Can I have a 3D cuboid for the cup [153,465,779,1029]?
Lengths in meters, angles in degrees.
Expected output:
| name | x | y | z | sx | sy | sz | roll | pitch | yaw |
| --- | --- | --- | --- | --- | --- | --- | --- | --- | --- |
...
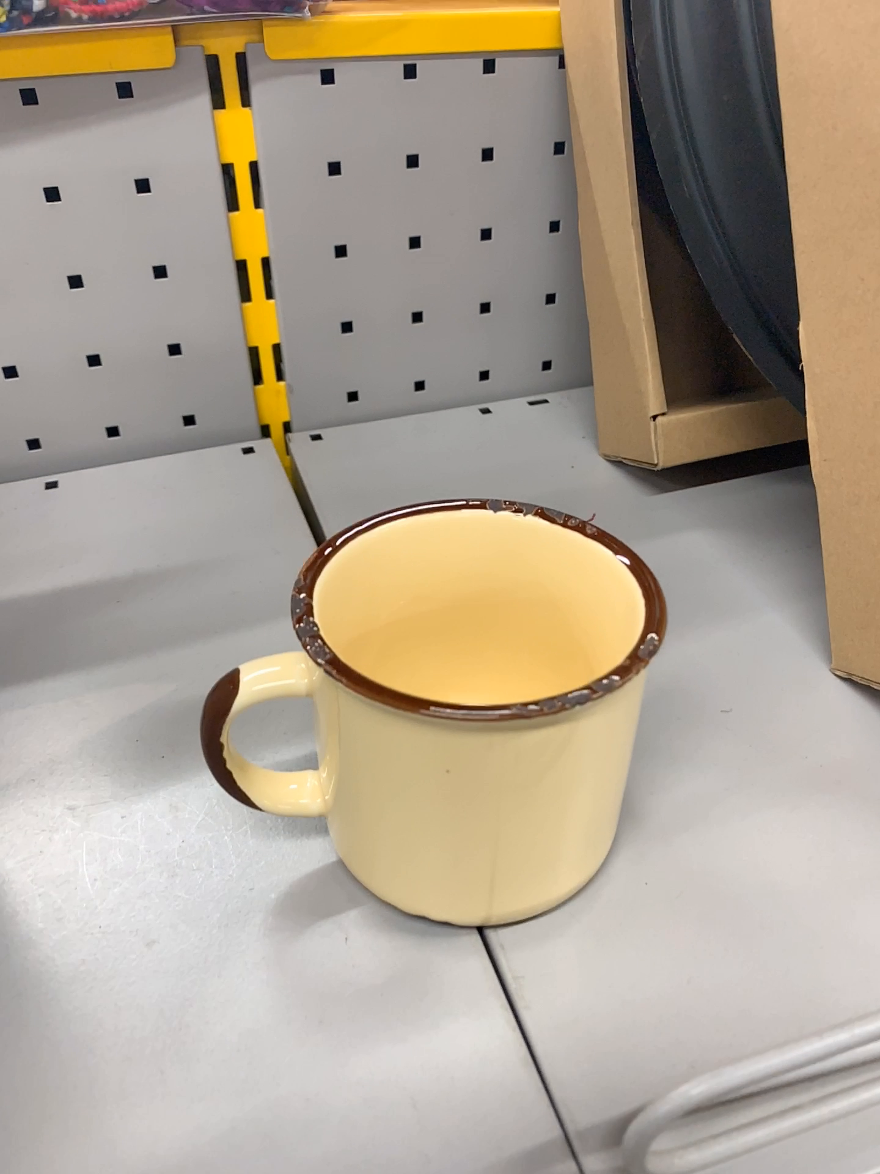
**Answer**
| name | x | y | z | sx | sy | sz | roll | pitch | yaw |
| --- | --- | --- | --- | --- | --- | --- | --- | --- | --- |
| cup | -0.001 | 0.033 | 0.228 | 0.120 | 0.080 | 0.090 | -8 | 37 | -10 |
